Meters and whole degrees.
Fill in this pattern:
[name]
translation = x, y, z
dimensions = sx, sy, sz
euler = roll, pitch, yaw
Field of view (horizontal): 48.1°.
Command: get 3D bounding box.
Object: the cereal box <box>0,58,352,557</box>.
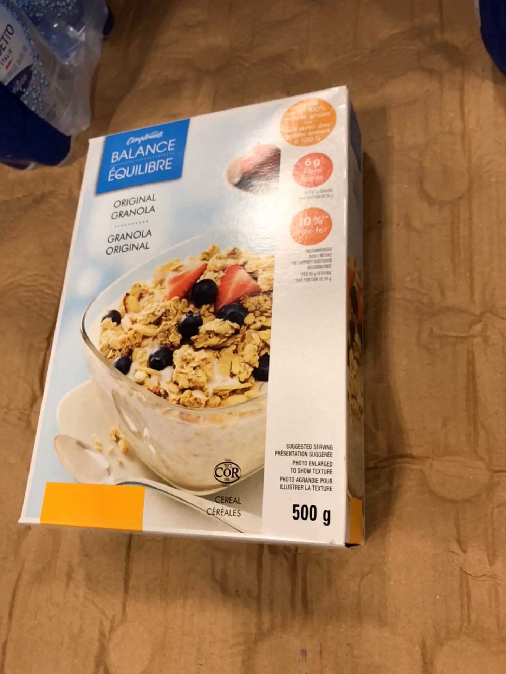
[cereal box]
translation = -0.040, -0.019, 0.313
dimensions = 0.180, 0.050, 0.250
euler = -3, 69, 19
